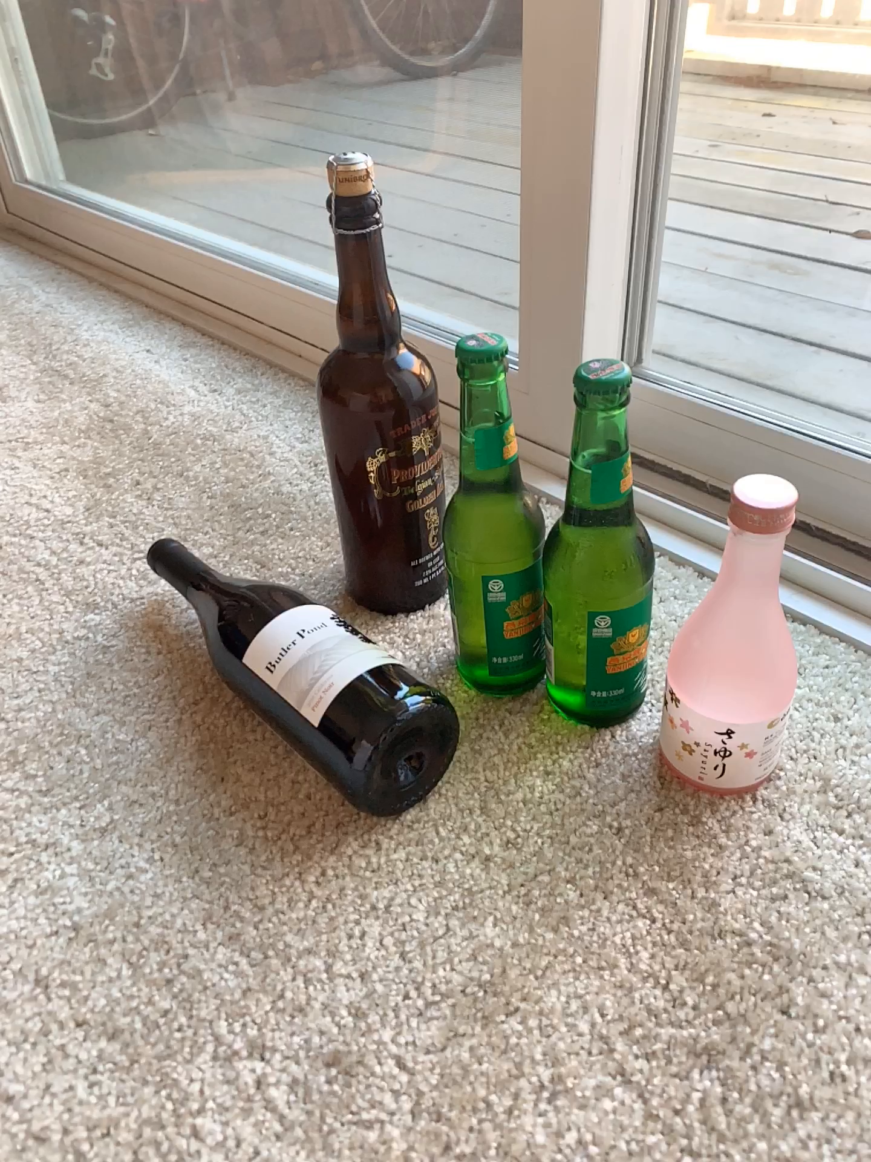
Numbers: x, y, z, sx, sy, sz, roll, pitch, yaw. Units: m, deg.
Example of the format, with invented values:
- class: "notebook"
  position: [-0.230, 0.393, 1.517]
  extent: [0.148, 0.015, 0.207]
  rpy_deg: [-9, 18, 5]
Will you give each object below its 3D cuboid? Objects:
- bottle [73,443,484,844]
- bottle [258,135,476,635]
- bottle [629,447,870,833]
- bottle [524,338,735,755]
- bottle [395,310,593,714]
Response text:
- class: "bottle"
  position: [-0.102, 0.023, 0.532]
  extent: [0.281, 0.080, 0.070]
  rpy_deg: [34, 51, 30]
- class: "bottle"
  position: [-0.032, -0.113, 0.566]
  extent: [0.080, 0.288, 0.080]
  rpy_deg: [-2, 37, 1]
- class: "bottle"
  position: [0.158, 0.034, 0.466]
  extent: [0.070, 0.179, 0.070]
  rpy_deg: [-2, 37, 1]
- class: "bottle"
  position: [0.102, -0.013, 0.507]
  extent: [0.070, 0.219, 0.070]
  rpy_deg: [-2, 37, 1]
- class: "bottle"
  position: [0.034, -0.034, 0.509]
  extent: [0.070, 0.209, 0.070]
  rpy_deg: [-2, 37, 1]
